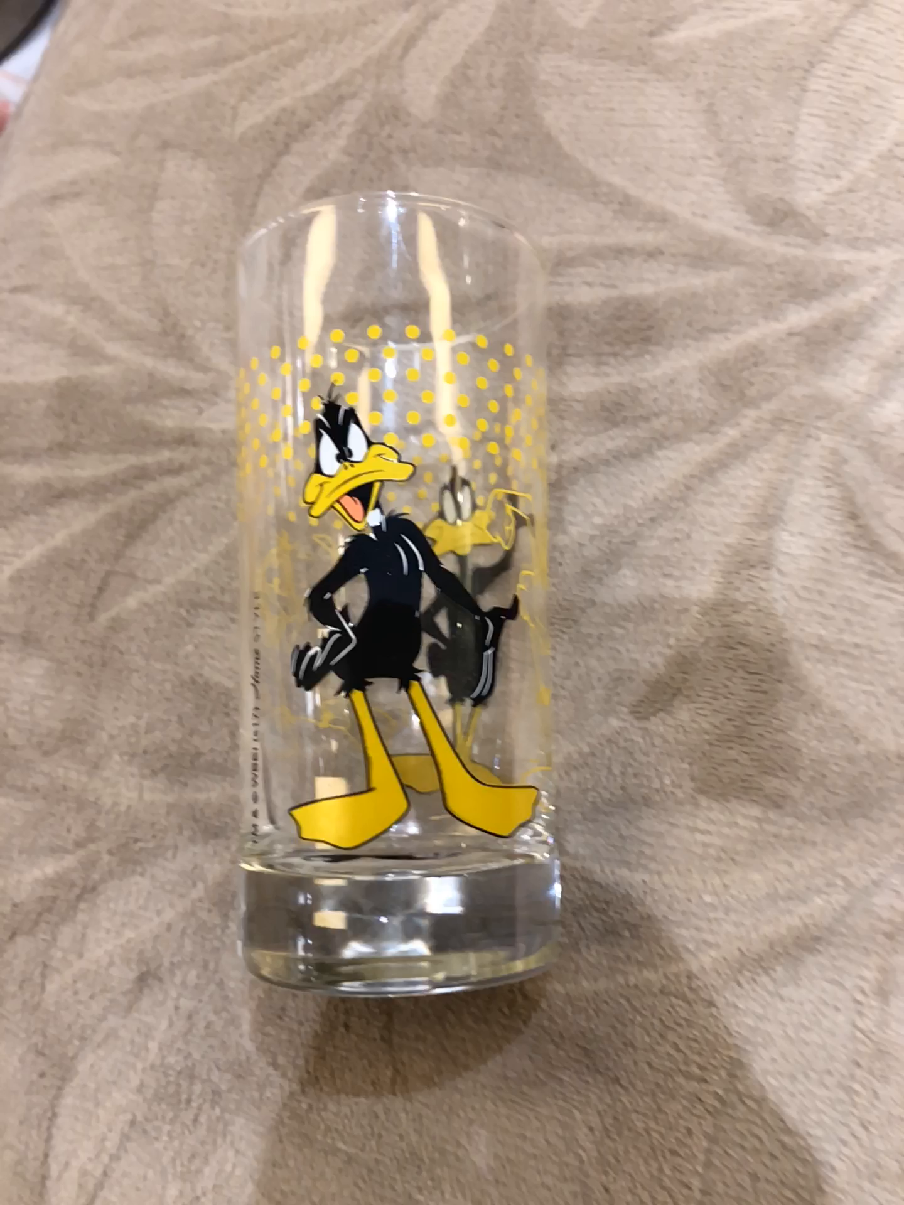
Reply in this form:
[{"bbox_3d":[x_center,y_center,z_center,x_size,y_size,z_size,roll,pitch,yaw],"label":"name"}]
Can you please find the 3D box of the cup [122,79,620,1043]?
[{"bbox_3d":[-0.009,-0.006,0.197,0.070,0.070,0.160,-4,72,8],"label":"cup"}]
